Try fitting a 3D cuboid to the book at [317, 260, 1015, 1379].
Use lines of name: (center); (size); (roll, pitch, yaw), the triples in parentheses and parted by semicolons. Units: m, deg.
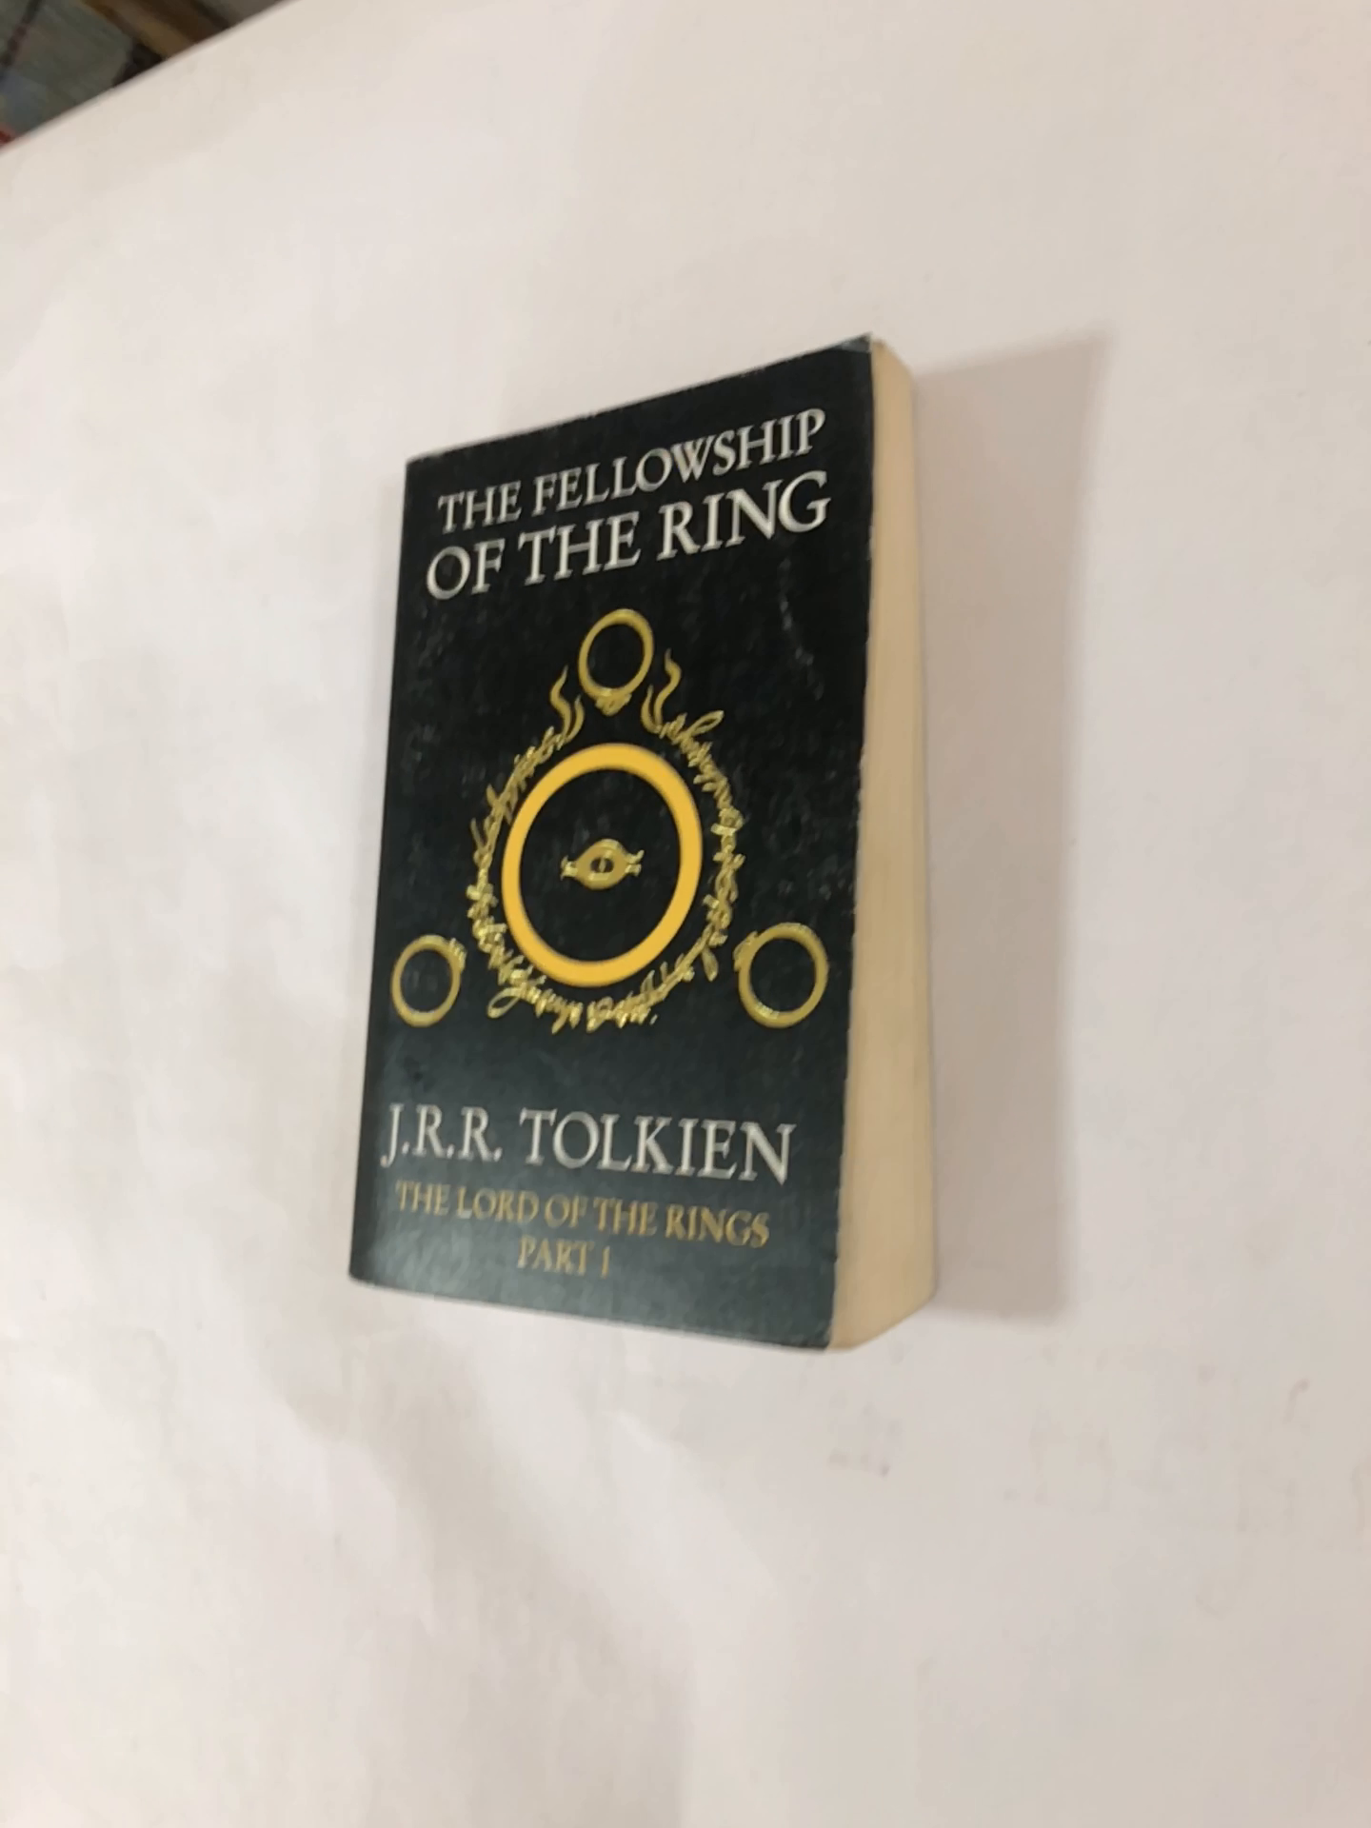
book: (-0.006, -0.016, 0.328); (0.131, 0.050, 0.200); (-1, 80, 38)
